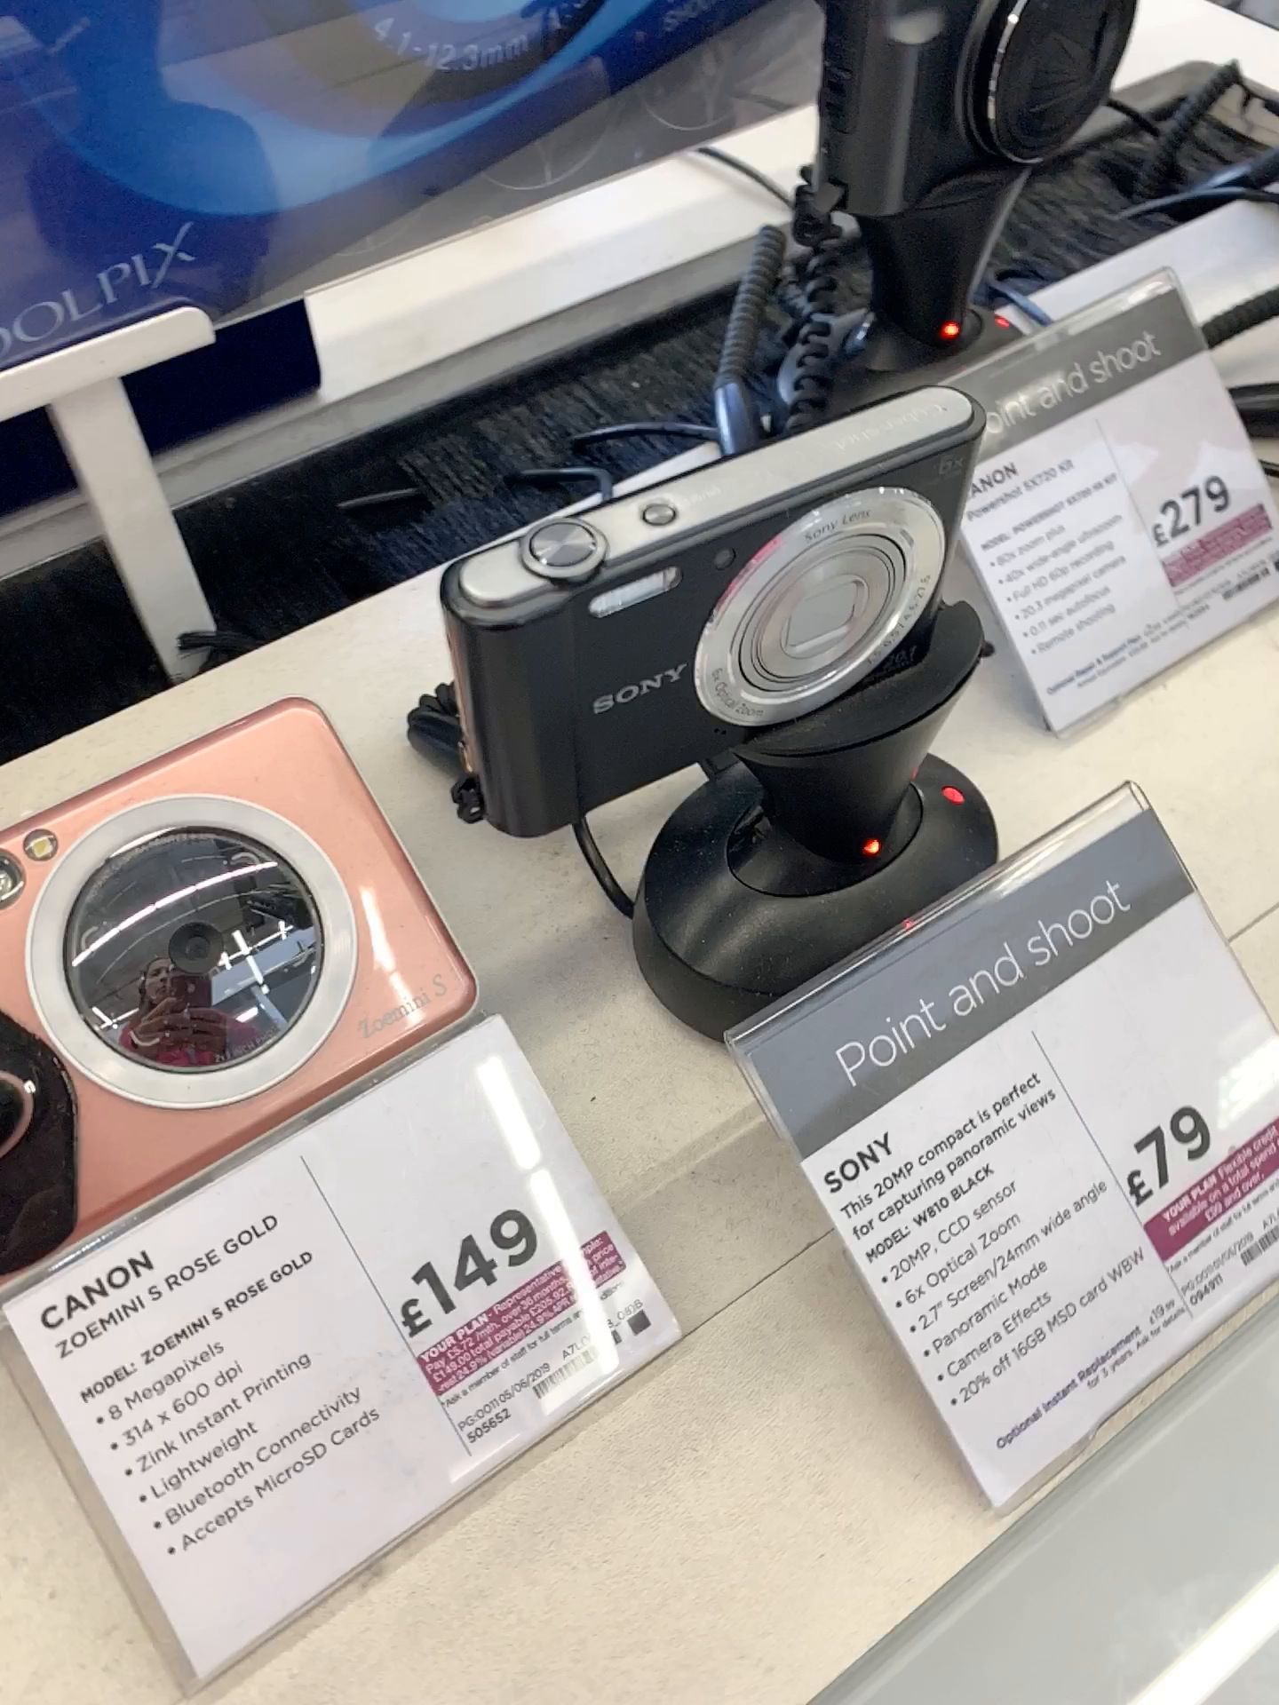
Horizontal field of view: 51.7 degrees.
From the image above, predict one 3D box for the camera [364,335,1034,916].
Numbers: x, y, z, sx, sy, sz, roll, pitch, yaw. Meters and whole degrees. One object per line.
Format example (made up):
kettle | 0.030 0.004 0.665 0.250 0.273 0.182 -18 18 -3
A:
camera | 0.011 -0.038 0.222 0.100 0.060 0.030 -25 56 -17
